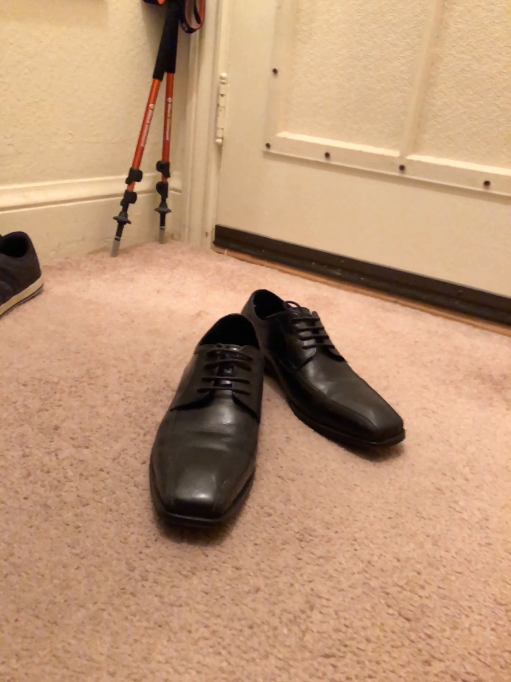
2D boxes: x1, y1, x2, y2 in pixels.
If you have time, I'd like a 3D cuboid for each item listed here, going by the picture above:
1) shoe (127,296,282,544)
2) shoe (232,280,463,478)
[{"bbox_3d":[-0.038,0.058,0.586,0.110,0.107,0.285,7,24,1],"label":"shoe"},{"bbox_3d":[0.095,0.027,0.718,0.115,0.110,0.298,-8,28,-30],"label":"shoe"}]
